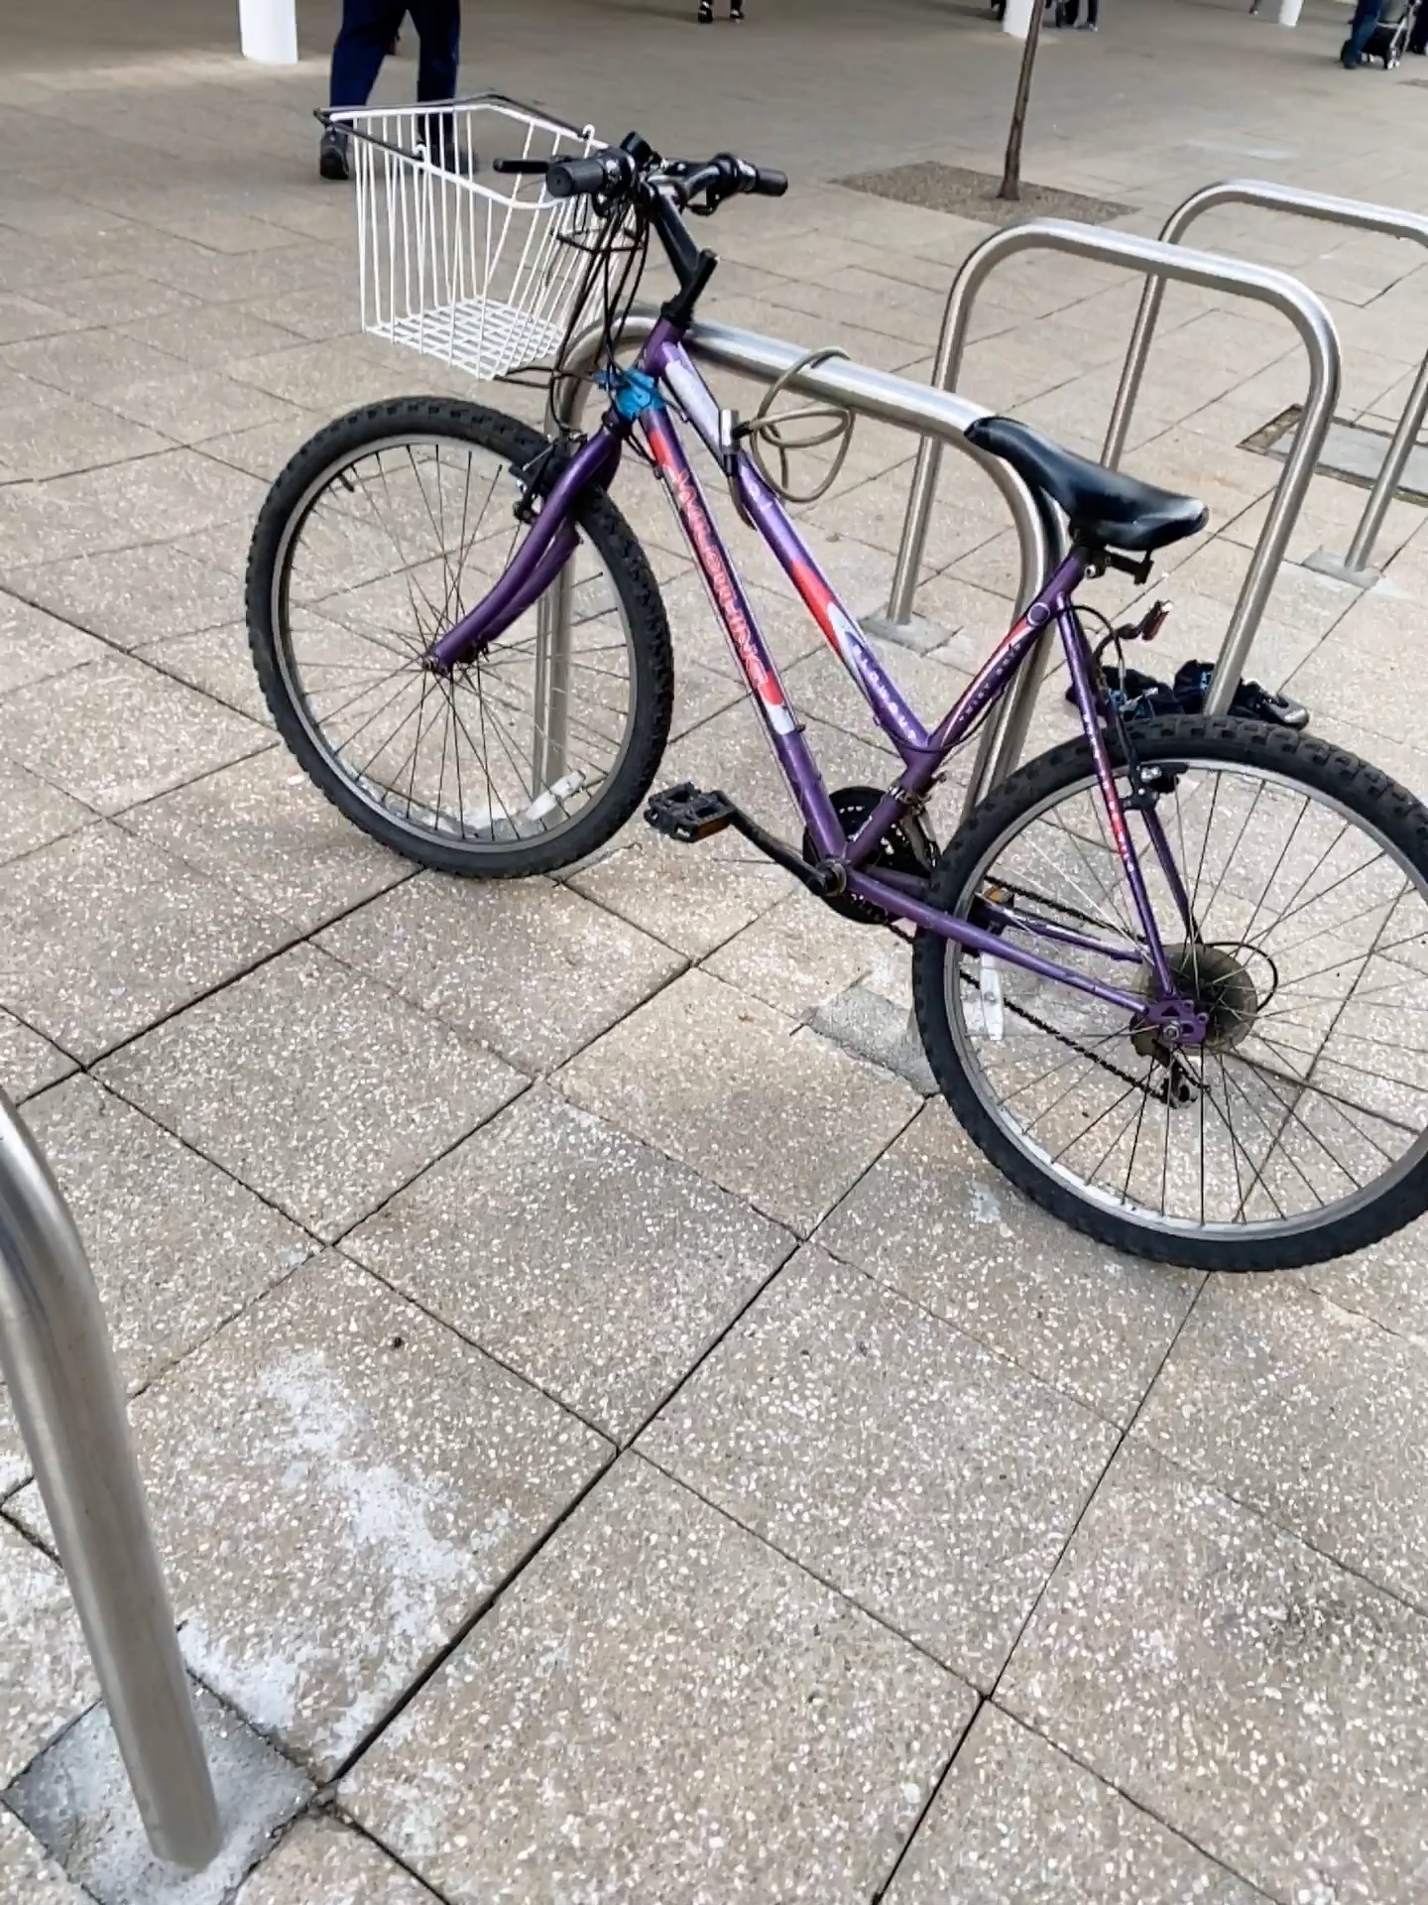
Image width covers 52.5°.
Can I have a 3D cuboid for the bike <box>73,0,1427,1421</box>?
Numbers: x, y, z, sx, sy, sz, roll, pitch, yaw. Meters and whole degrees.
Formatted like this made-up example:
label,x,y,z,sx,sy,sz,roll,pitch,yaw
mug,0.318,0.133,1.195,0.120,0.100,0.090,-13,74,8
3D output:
label,x,y,z,sx,sy,sz,roll,pitch,yaw
bike,0.162,-0.387,1.781,1.734,1.042,0.584,25,40,19
